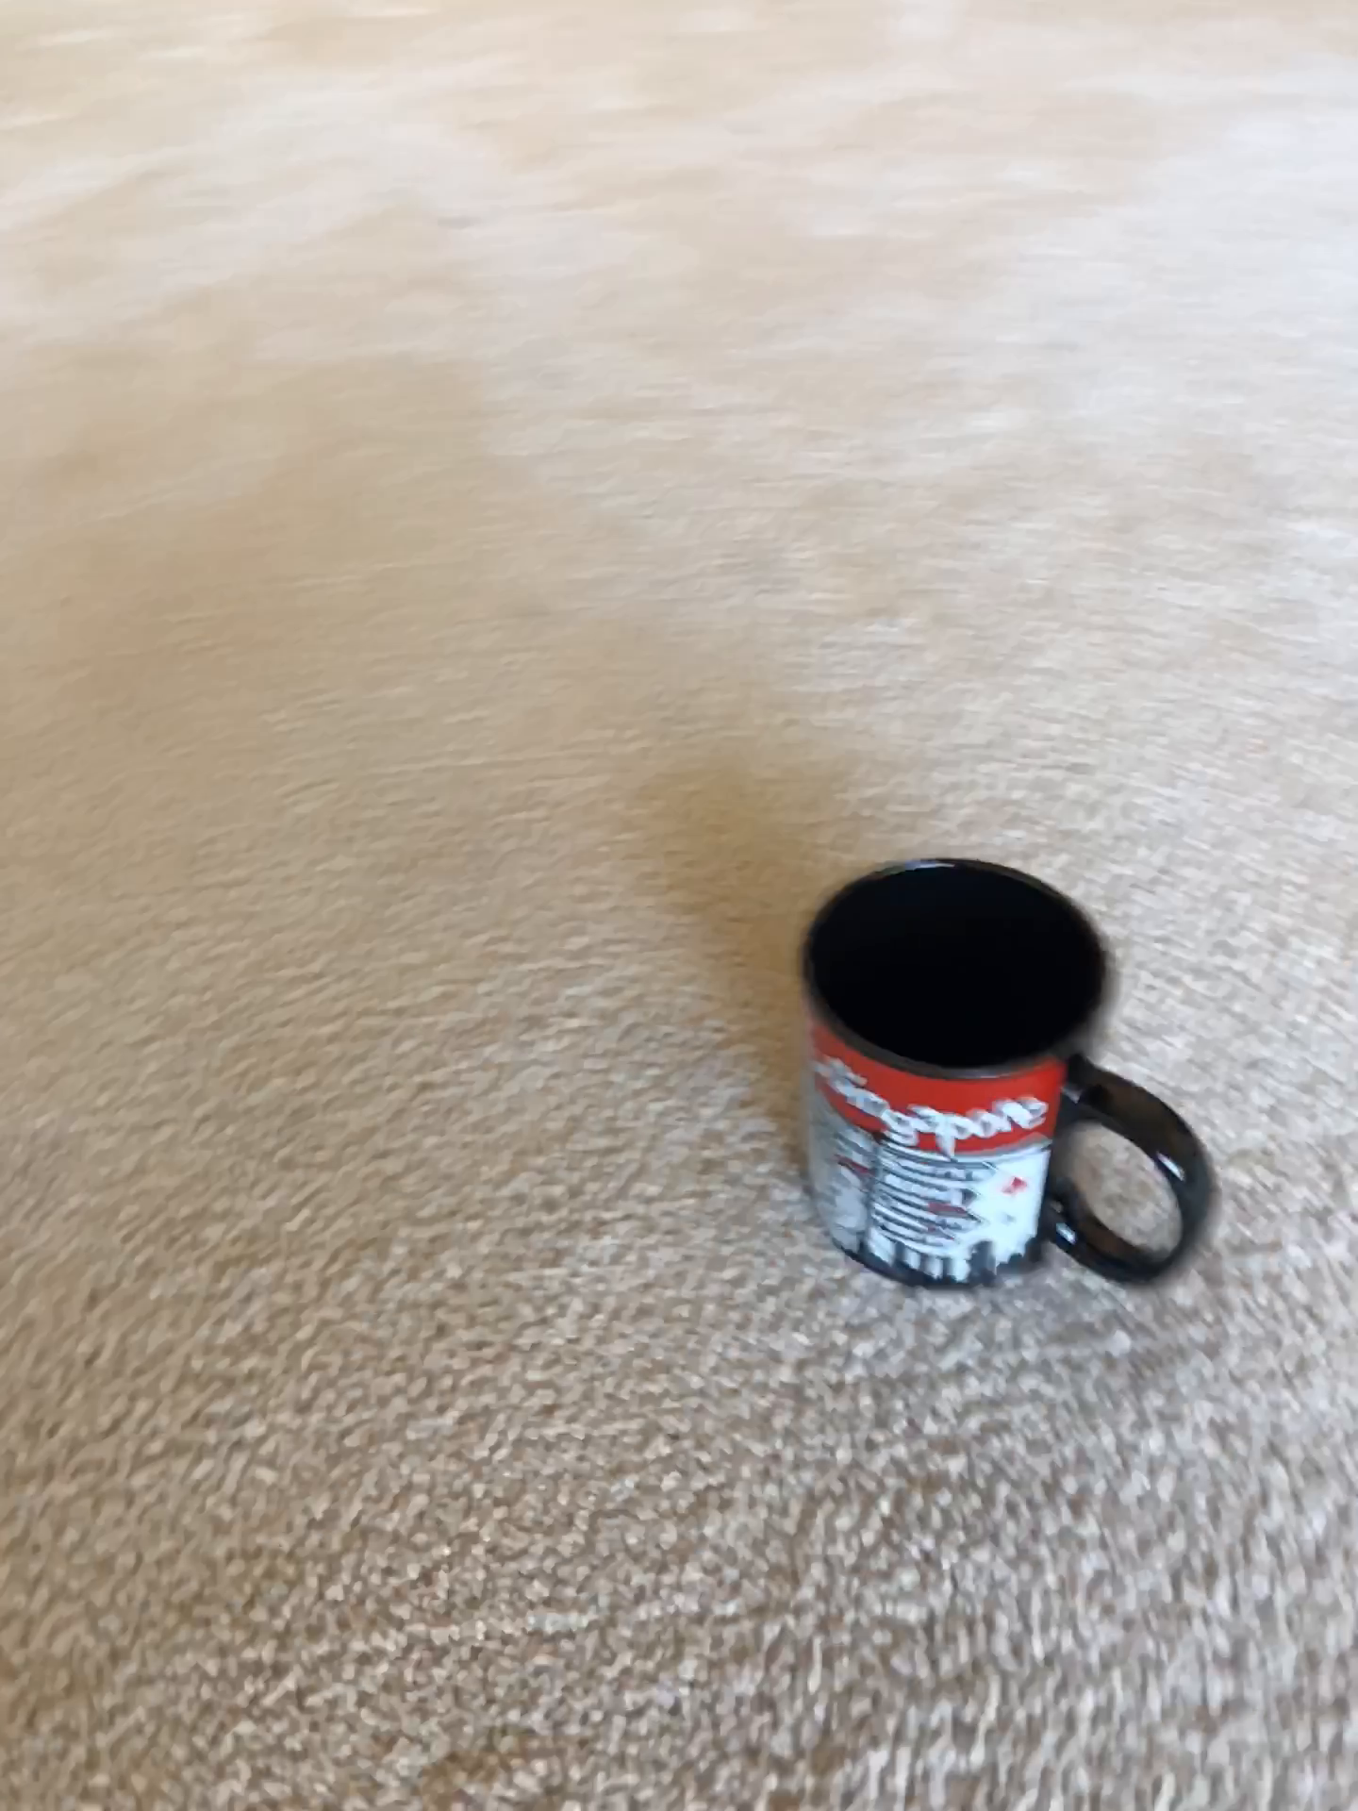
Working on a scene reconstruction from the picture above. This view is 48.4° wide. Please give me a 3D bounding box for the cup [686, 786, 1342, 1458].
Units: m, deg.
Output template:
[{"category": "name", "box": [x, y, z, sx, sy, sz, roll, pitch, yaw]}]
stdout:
[{"category": "cup", "box": [0.082, 0.051, 0.401, 0.090, 0.090, 0.130, -34, 48, -28]}]
